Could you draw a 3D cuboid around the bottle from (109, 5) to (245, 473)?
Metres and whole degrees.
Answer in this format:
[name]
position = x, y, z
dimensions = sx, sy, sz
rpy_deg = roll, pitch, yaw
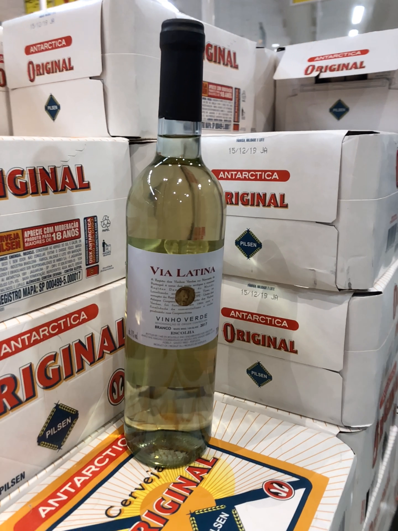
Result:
[bottle]
position = -0.020, -0.008, 0.327
dimensions = 0.080, 0.309, 0.070
rpy_deg = -1, 14, -9
